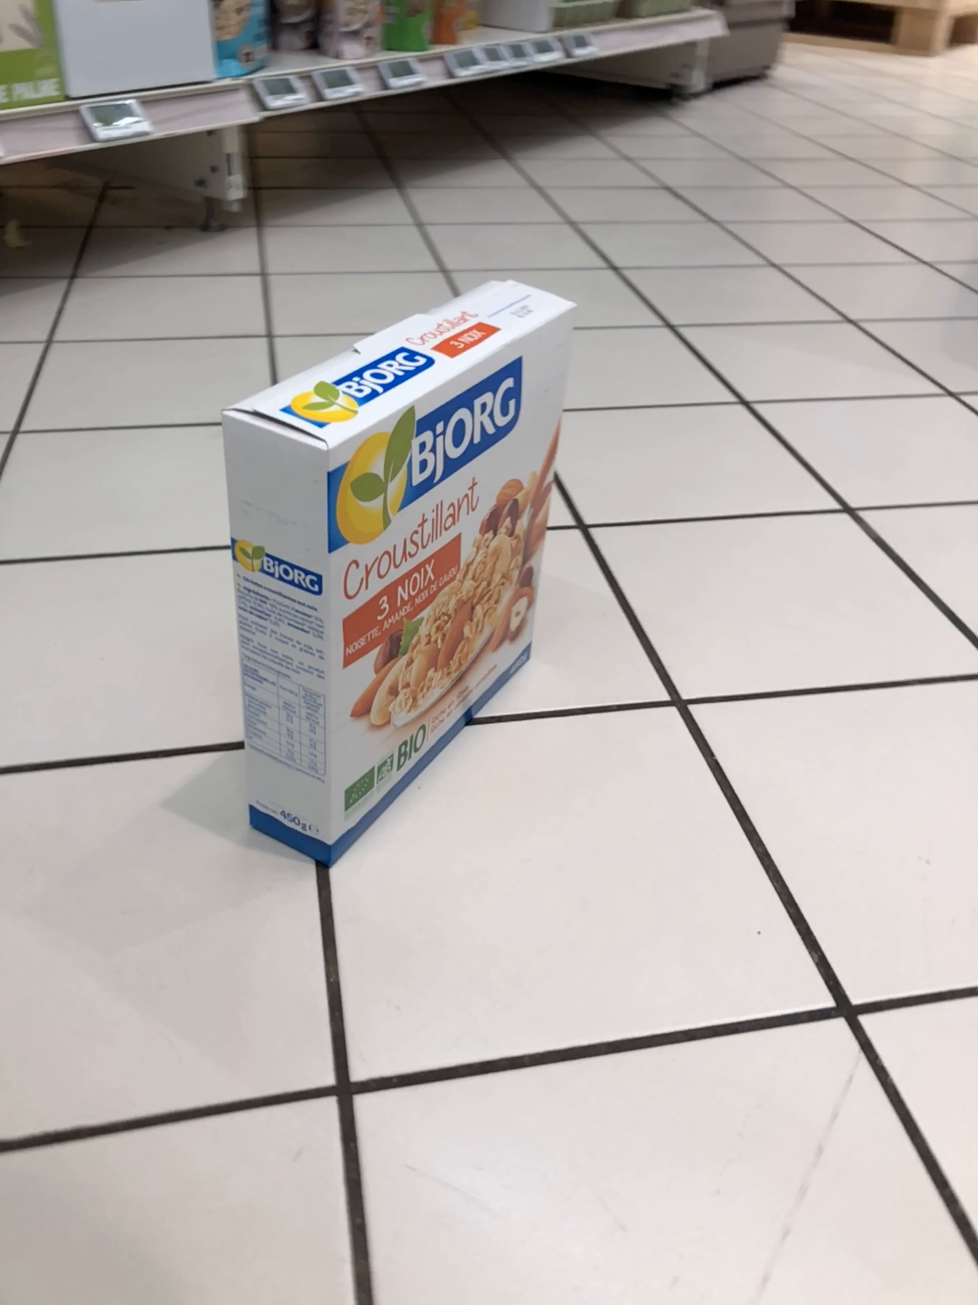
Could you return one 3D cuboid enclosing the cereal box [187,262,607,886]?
[{"bbox_3d":[-0.035,-0.043,0.509,0.060,0.219,0.211,24,41,22],"label":"cereal box"}]
